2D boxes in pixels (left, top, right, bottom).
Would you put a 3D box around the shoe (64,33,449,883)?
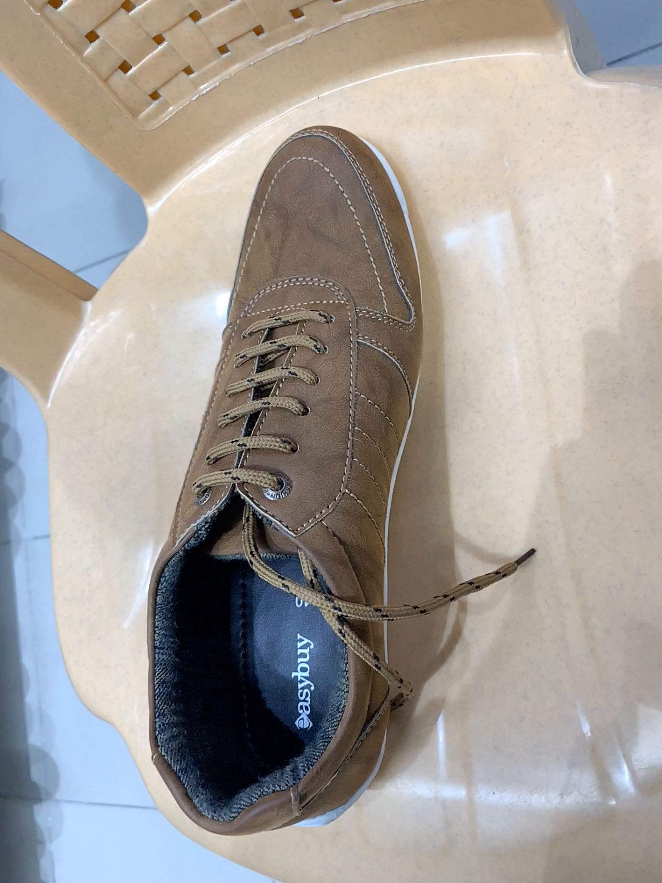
[{"bbox_3d":[-0.017,0.003,0.300,0.100,0.100,0.310,-4,74,29],"label":"shoe"}]
